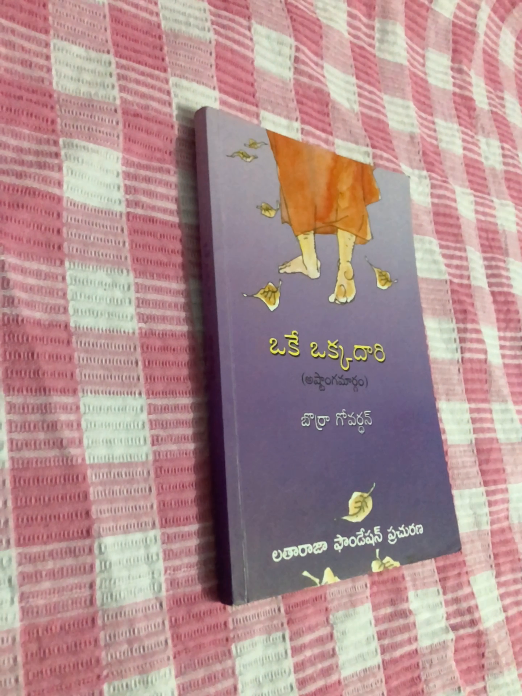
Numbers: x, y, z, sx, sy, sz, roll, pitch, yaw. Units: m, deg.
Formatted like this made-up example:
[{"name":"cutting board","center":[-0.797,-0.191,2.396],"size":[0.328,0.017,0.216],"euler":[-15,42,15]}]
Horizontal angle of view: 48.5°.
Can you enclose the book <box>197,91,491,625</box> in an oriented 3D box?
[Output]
[{"name":"book","center":[0.044,0.001,0.277],"size":[0.151,0.020,0.210],"euler":[5,75,-37]}]
